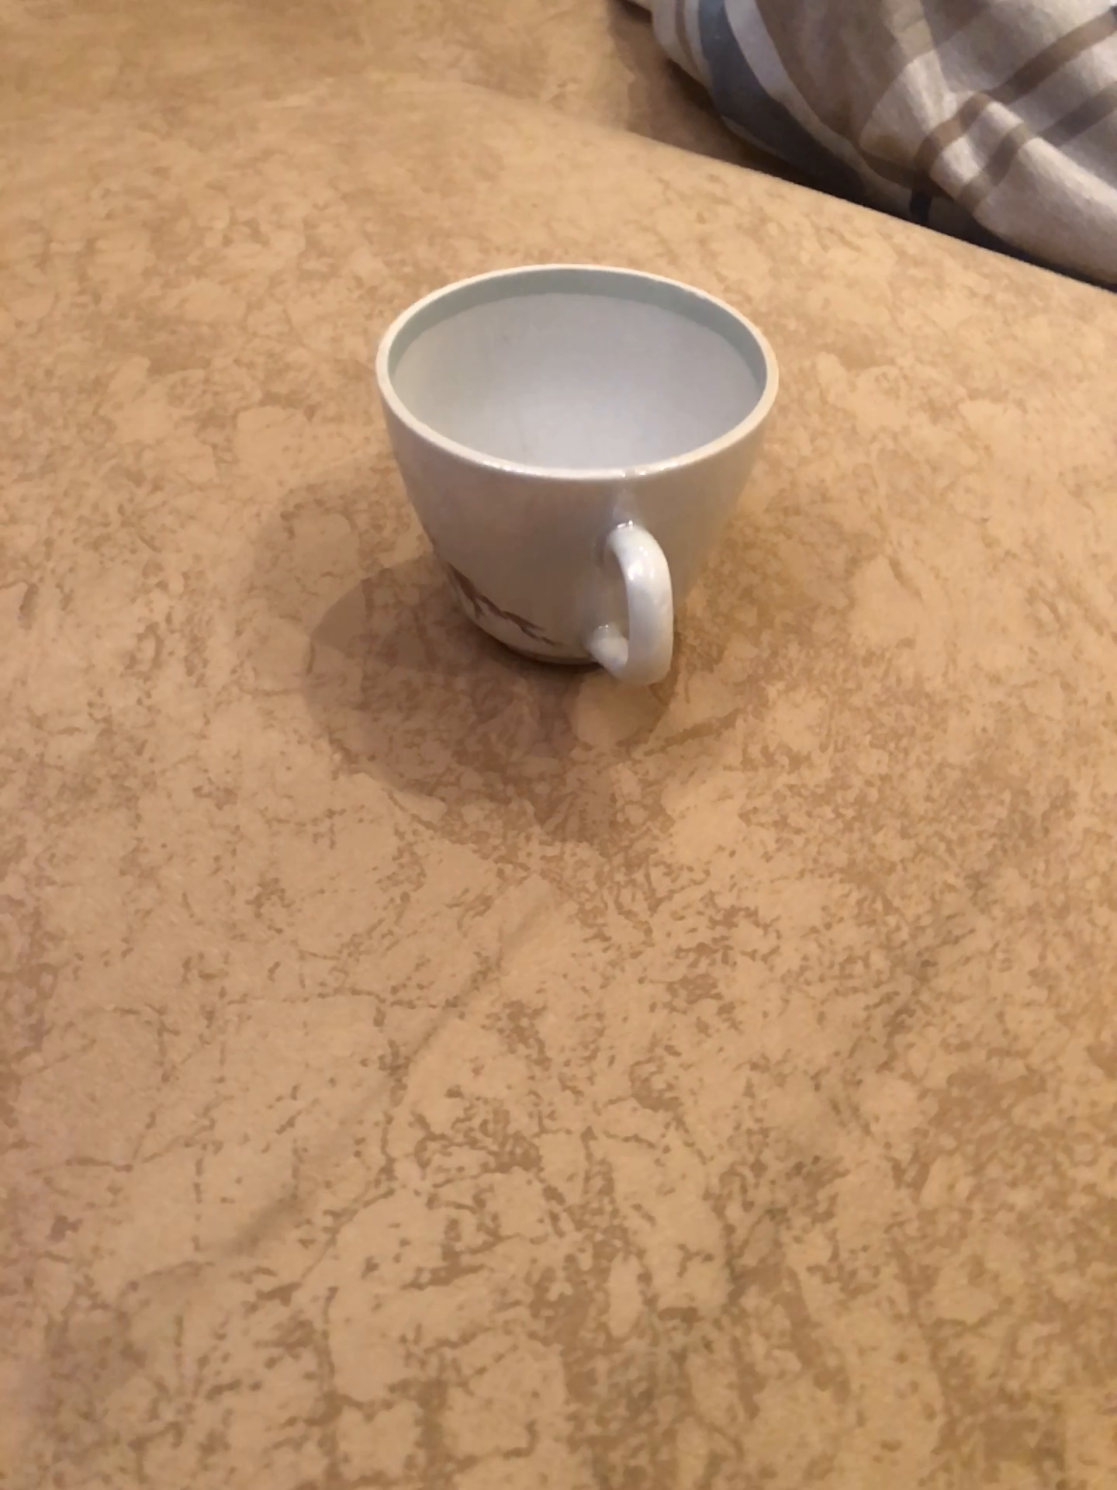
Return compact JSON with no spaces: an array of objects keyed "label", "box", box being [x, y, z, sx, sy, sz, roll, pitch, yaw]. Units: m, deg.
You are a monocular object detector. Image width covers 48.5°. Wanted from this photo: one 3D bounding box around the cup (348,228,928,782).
[{"label":"cup","box":[0.010,-0.060,0.284,0.090,0.060,0.110,-12,48,-14]}]
